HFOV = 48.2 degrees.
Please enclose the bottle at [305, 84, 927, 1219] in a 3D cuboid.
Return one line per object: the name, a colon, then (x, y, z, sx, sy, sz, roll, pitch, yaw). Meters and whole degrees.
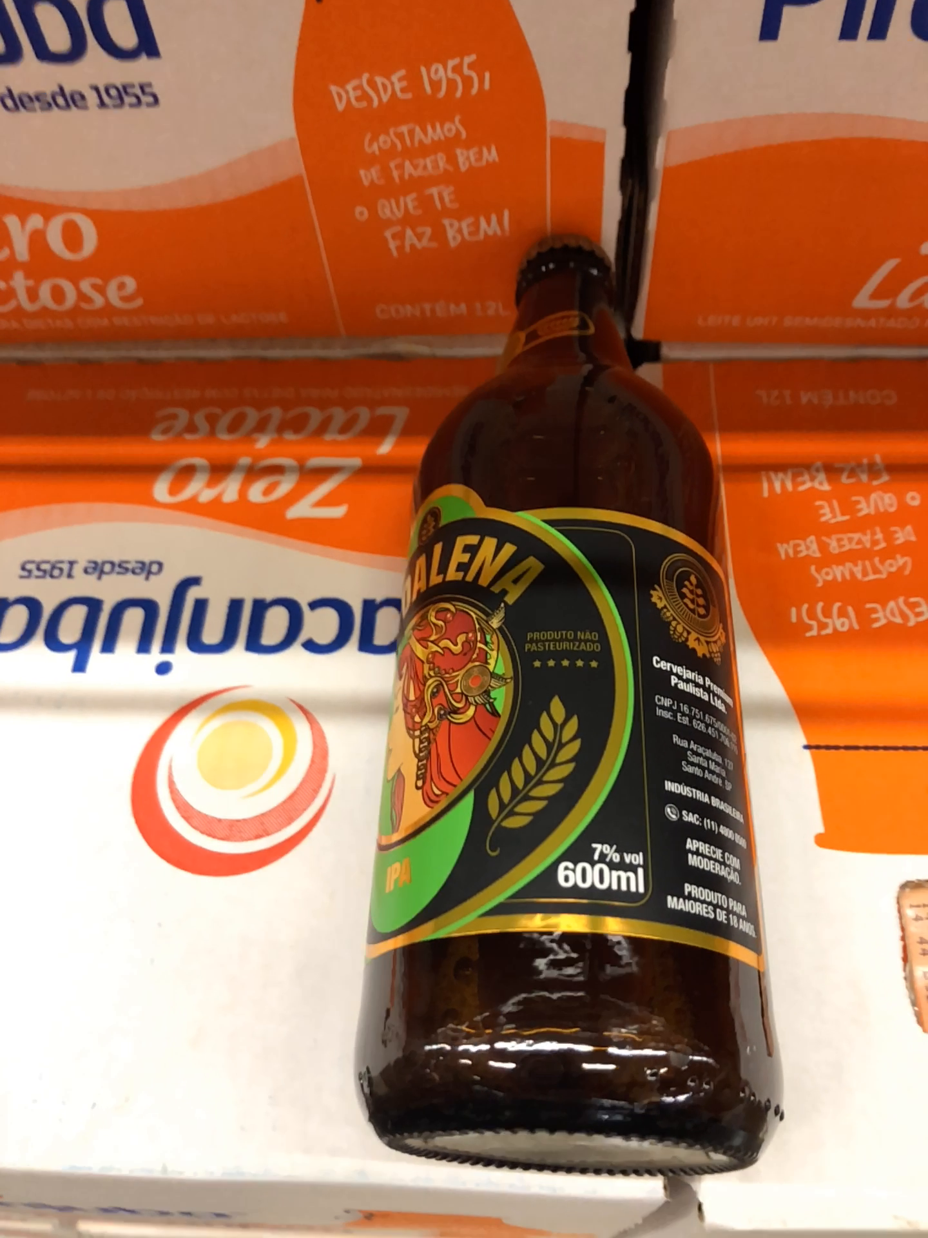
bottle: (0.033, -0.019, 0.254, 0.100, 0.060, 0.281, 0, 58, 4)
